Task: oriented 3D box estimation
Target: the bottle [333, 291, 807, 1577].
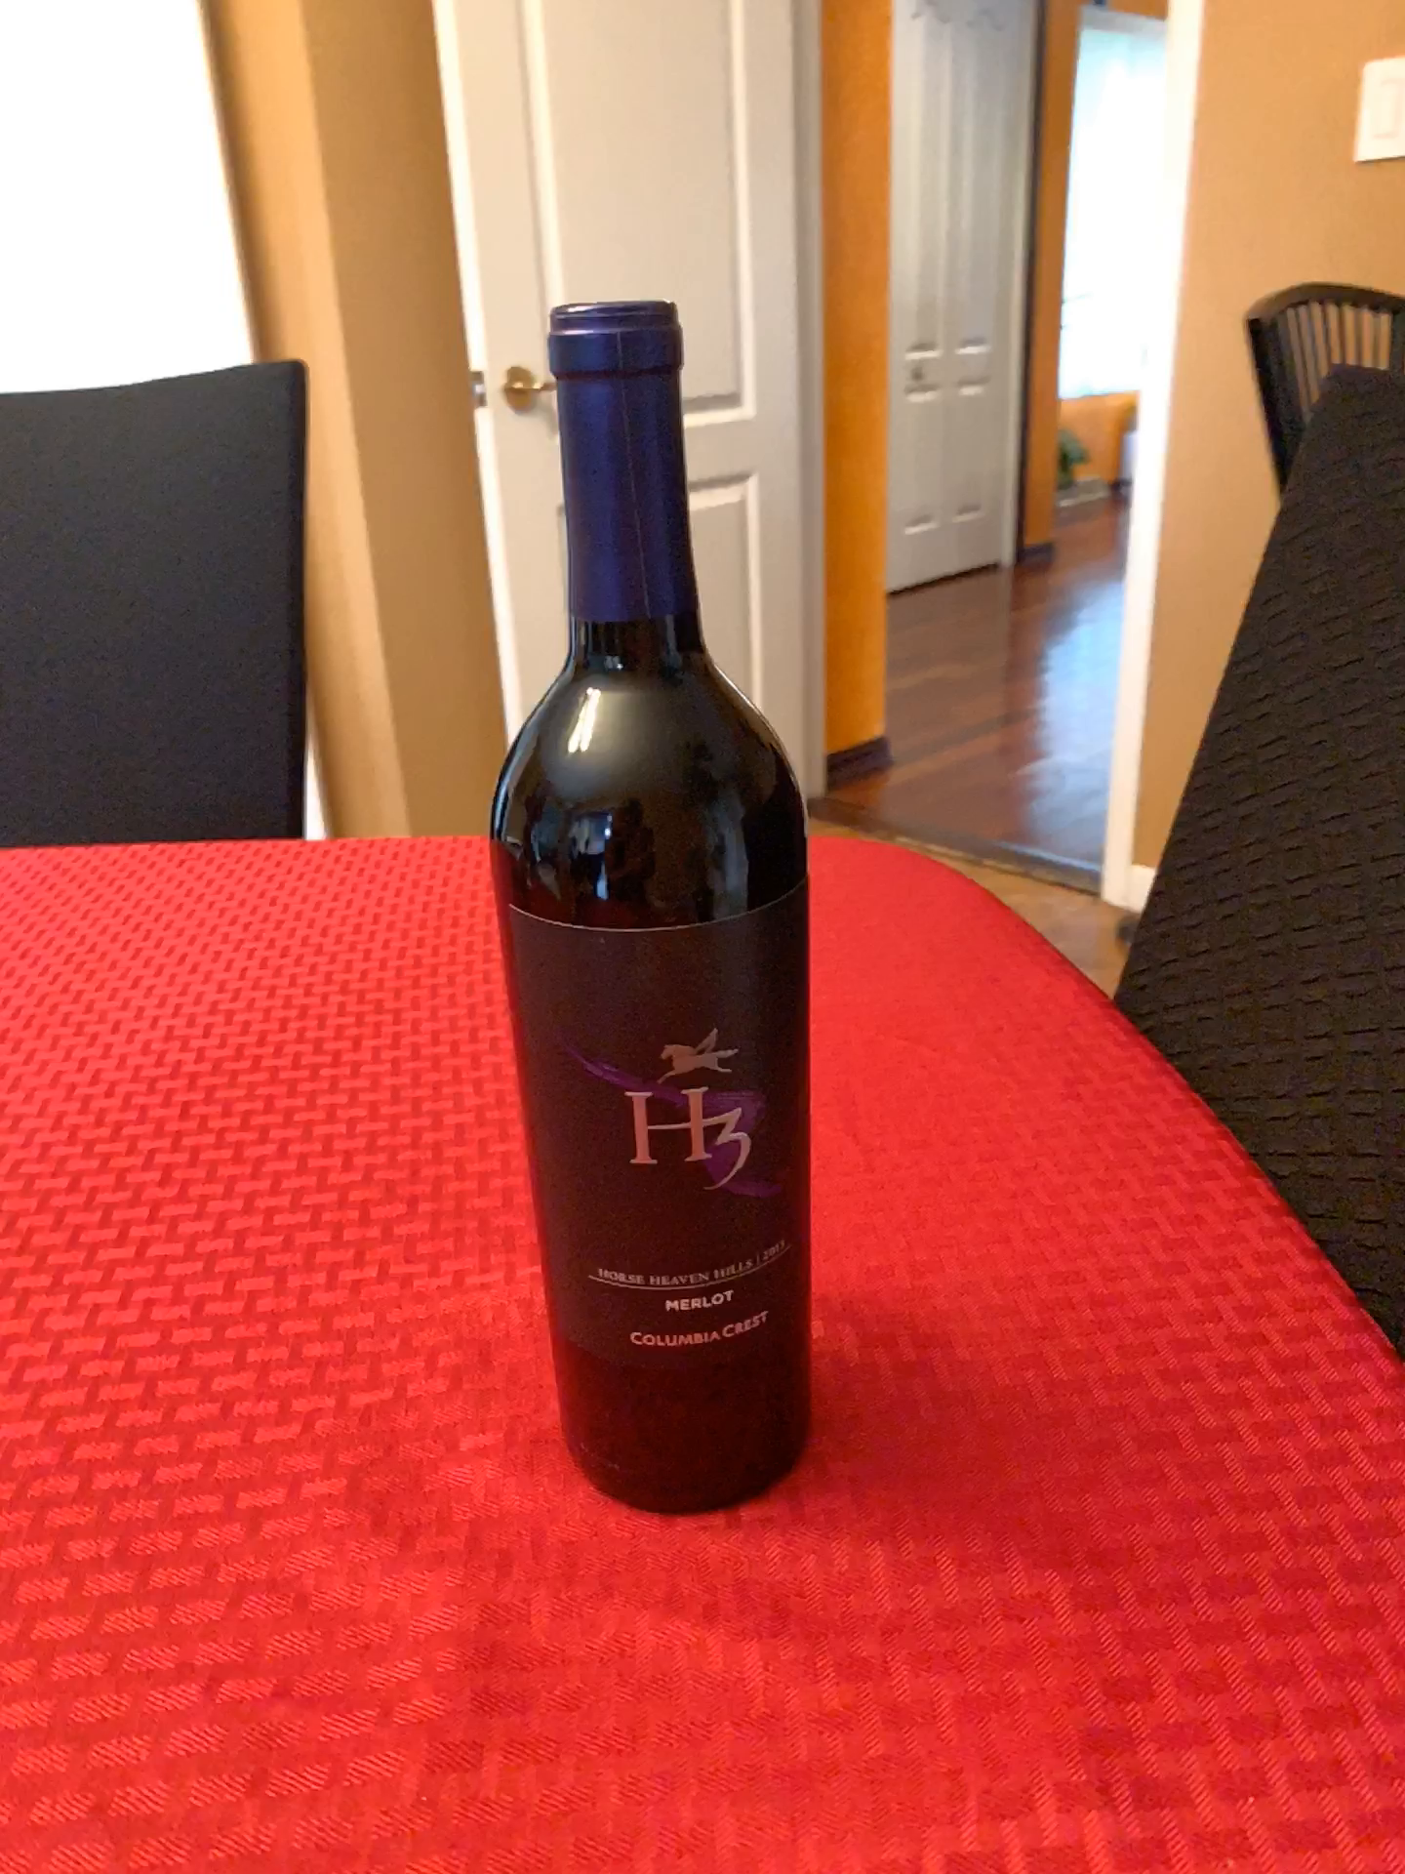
[{"bbox_3d":[-0.027,0.006,0.346,0.080,0.289,0.080,-2,23,1],"label":"bottle"}]
